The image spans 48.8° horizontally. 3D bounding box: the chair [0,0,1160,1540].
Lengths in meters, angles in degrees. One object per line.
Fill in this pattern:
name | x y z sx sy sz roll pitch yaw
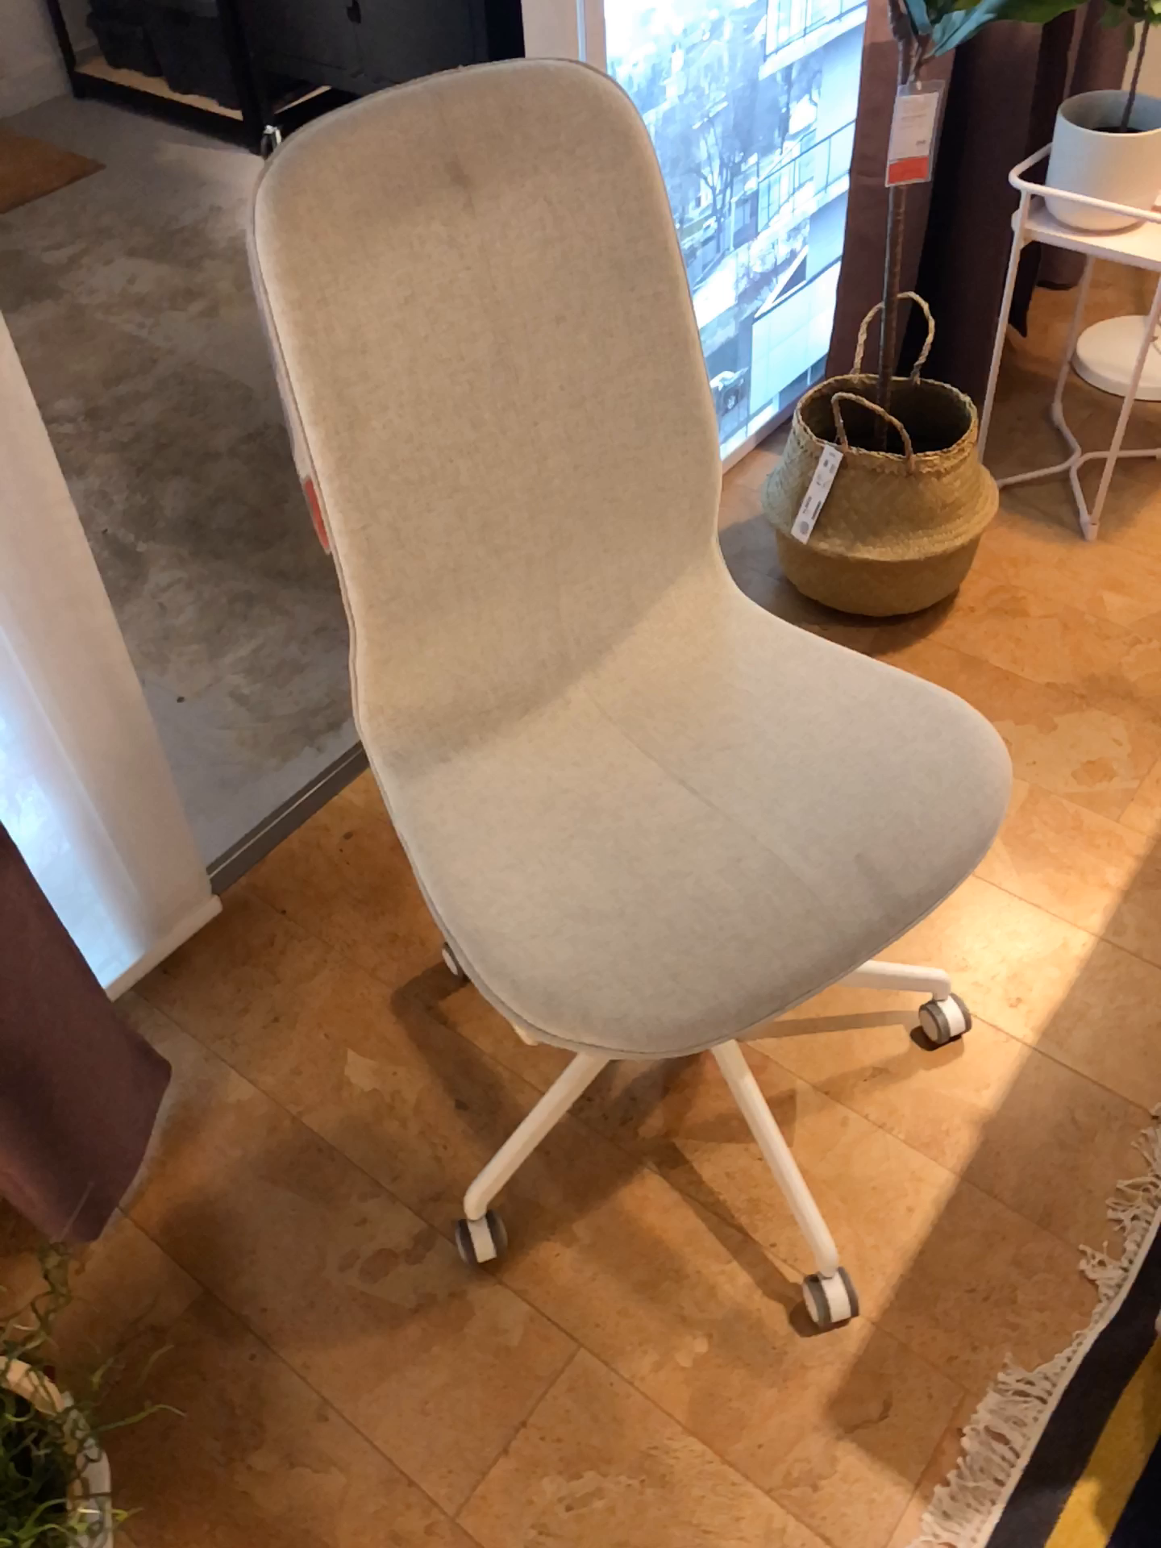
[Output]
chair | 0.069 -0.010 1.098 0.671 0.937 0.691 -33 53 -25
